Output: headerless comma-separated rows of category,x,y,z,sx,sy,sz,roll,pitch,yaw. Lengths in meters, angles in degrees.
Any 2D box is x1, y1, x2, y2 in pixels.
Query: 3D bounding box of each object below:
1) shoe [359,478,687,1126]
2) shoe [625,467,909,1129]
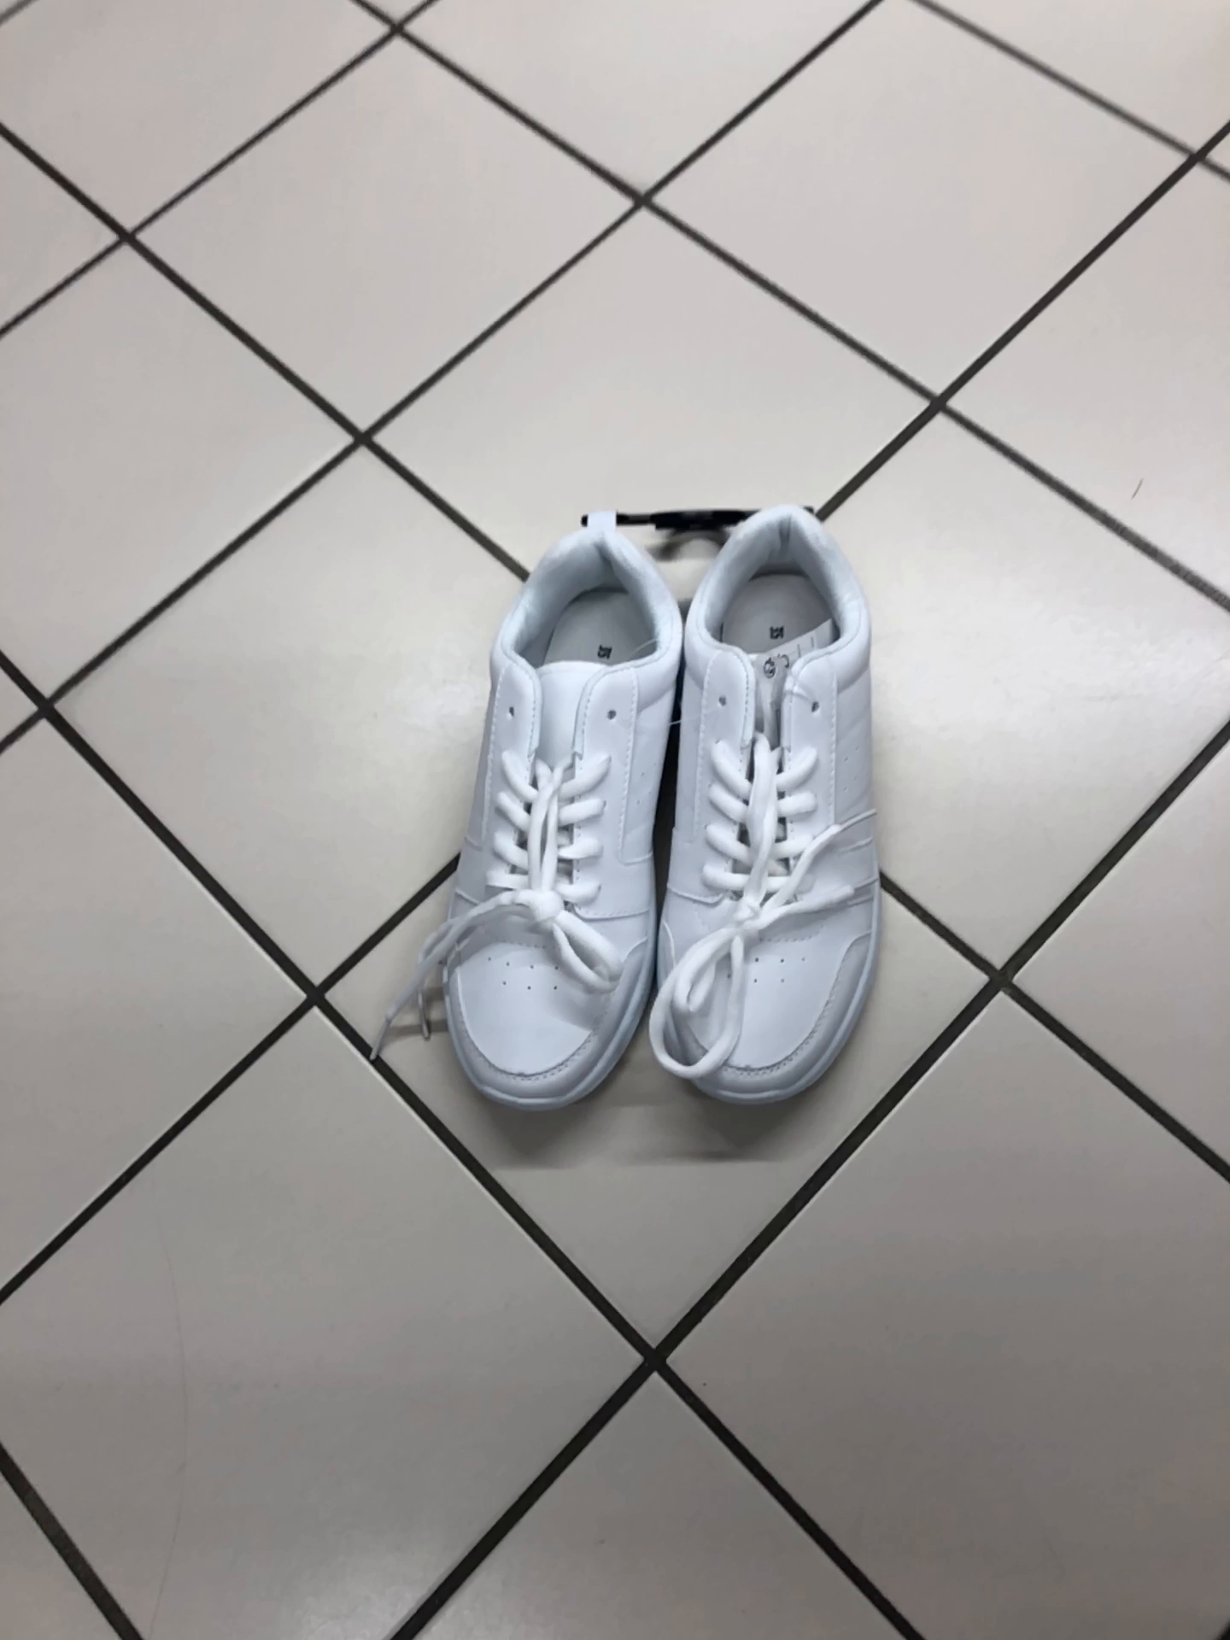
shoe,-0.027,-0.009,0.544,0.090,0.090,0.241,3,69,7
shoe,0.064,-0.011,0.533,0.090,0.090,0.241,3,69,7
